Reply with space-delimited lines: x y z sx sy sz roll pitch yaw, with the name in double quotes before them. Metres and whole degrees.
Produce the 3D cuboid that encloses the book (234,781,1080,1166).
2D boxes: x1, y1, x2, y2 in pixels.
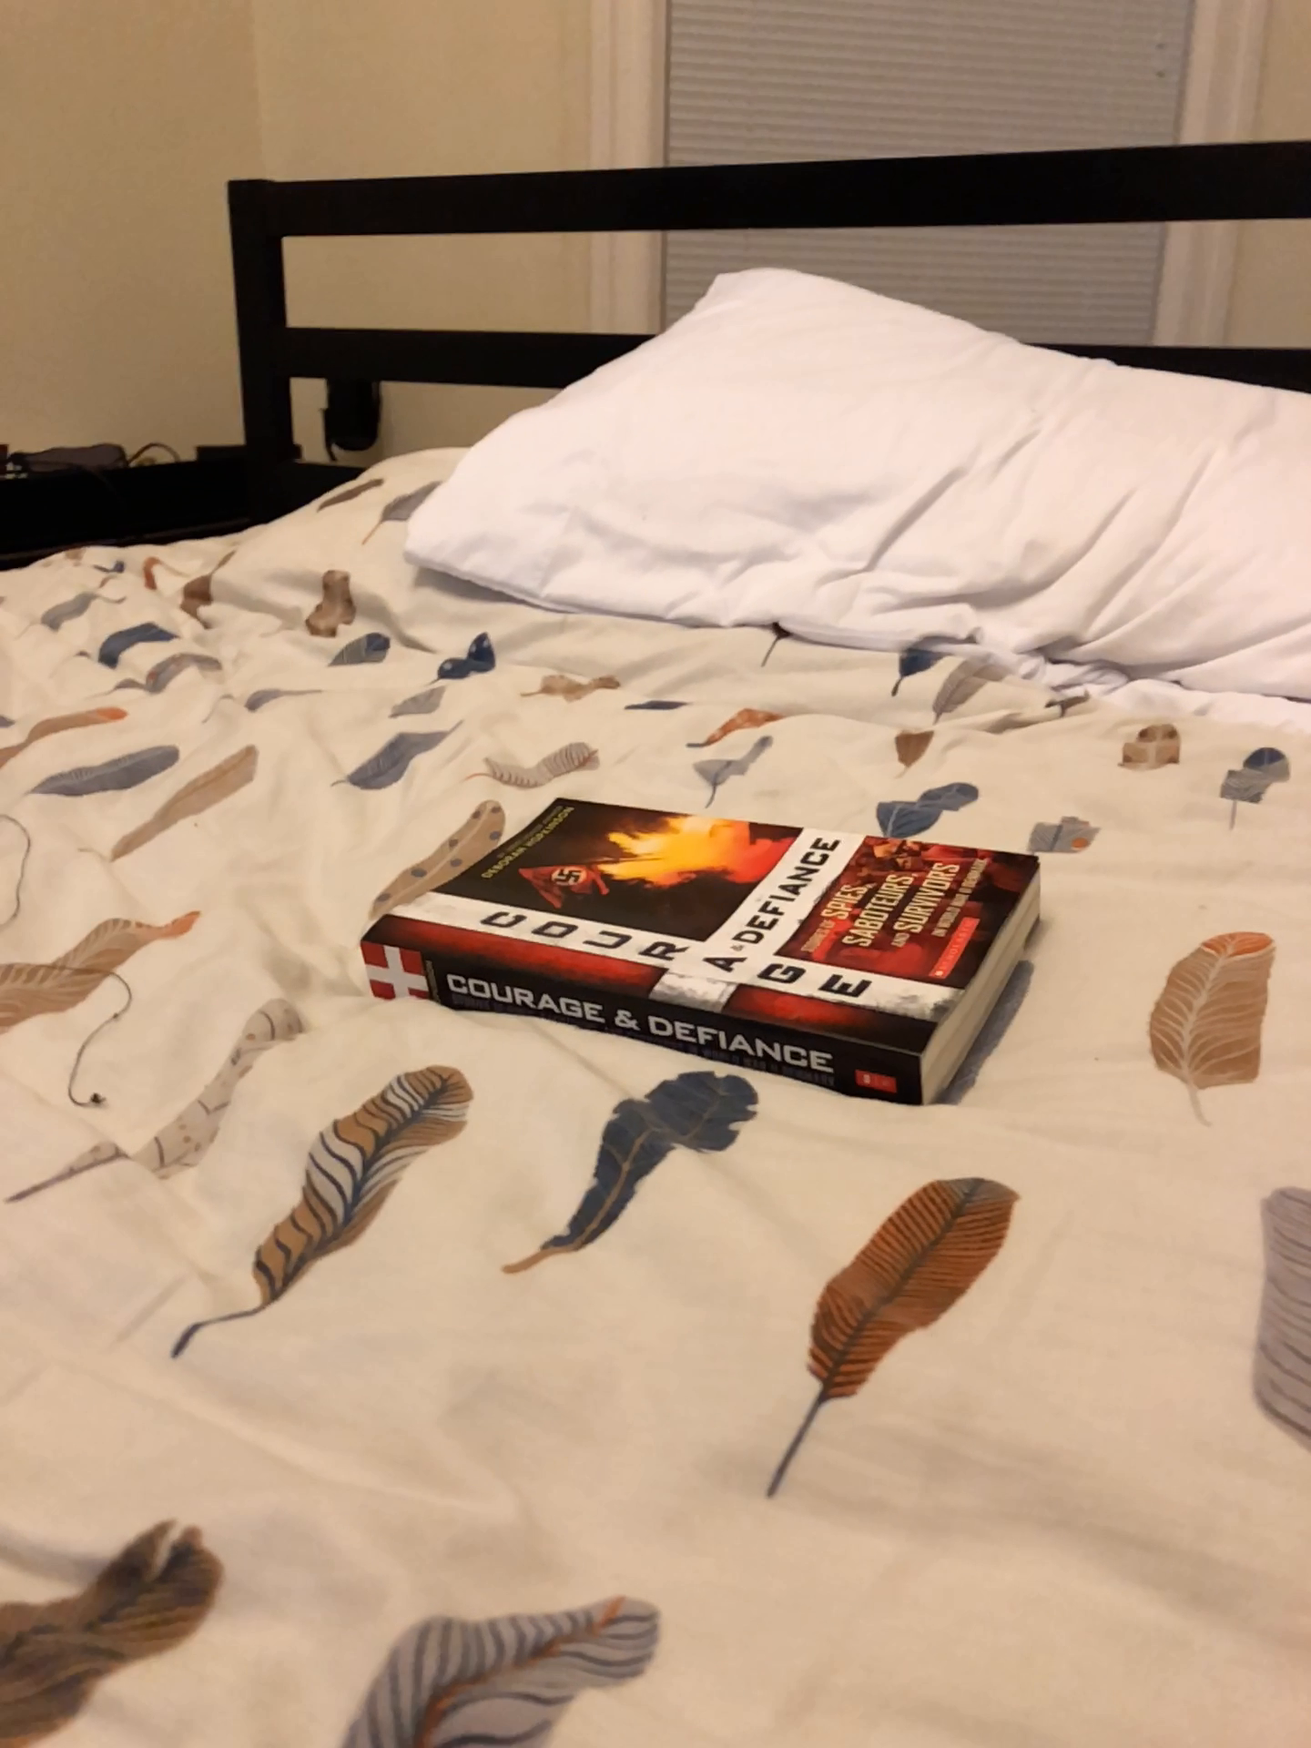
"book" 0.012 0.018 0.502 0.230 0.020 0.201 10 22 23
